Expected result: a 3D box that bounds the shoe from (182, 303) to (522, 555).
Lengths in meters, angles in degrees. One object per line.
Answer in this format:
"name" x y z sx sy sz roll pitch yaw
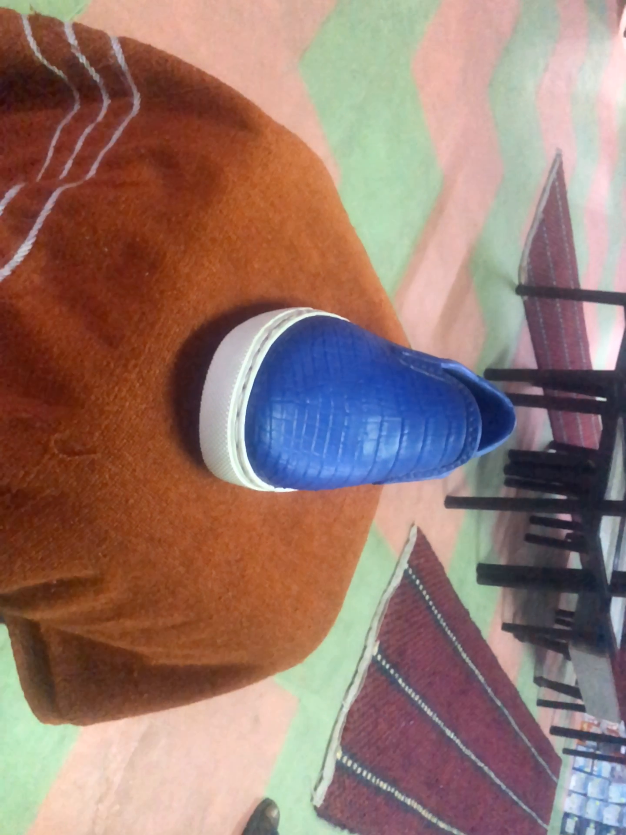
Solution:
"shoe" 0.051 -0.004 0.449 0.302 0.079 0.110 -4 98 -58
